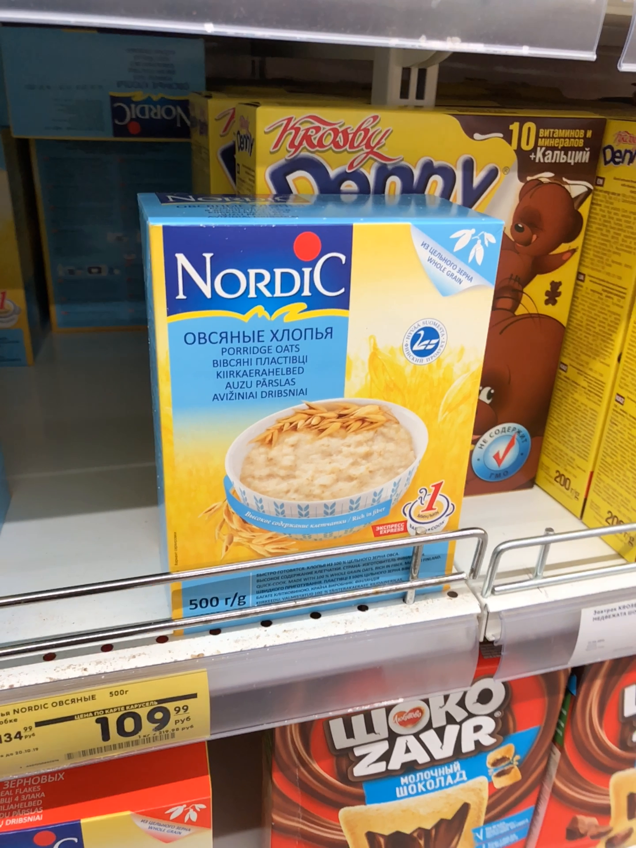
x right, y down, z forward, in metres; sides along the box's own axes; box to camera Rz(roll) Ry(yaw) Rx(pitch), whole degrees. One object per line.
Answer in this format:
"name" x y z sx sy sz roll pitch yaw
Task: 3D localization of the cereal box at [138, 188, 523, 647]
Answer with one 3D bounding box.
"cereal box" -0.002 -0.005 0.342 0.150 0.199 0.070 -5 27 -15
